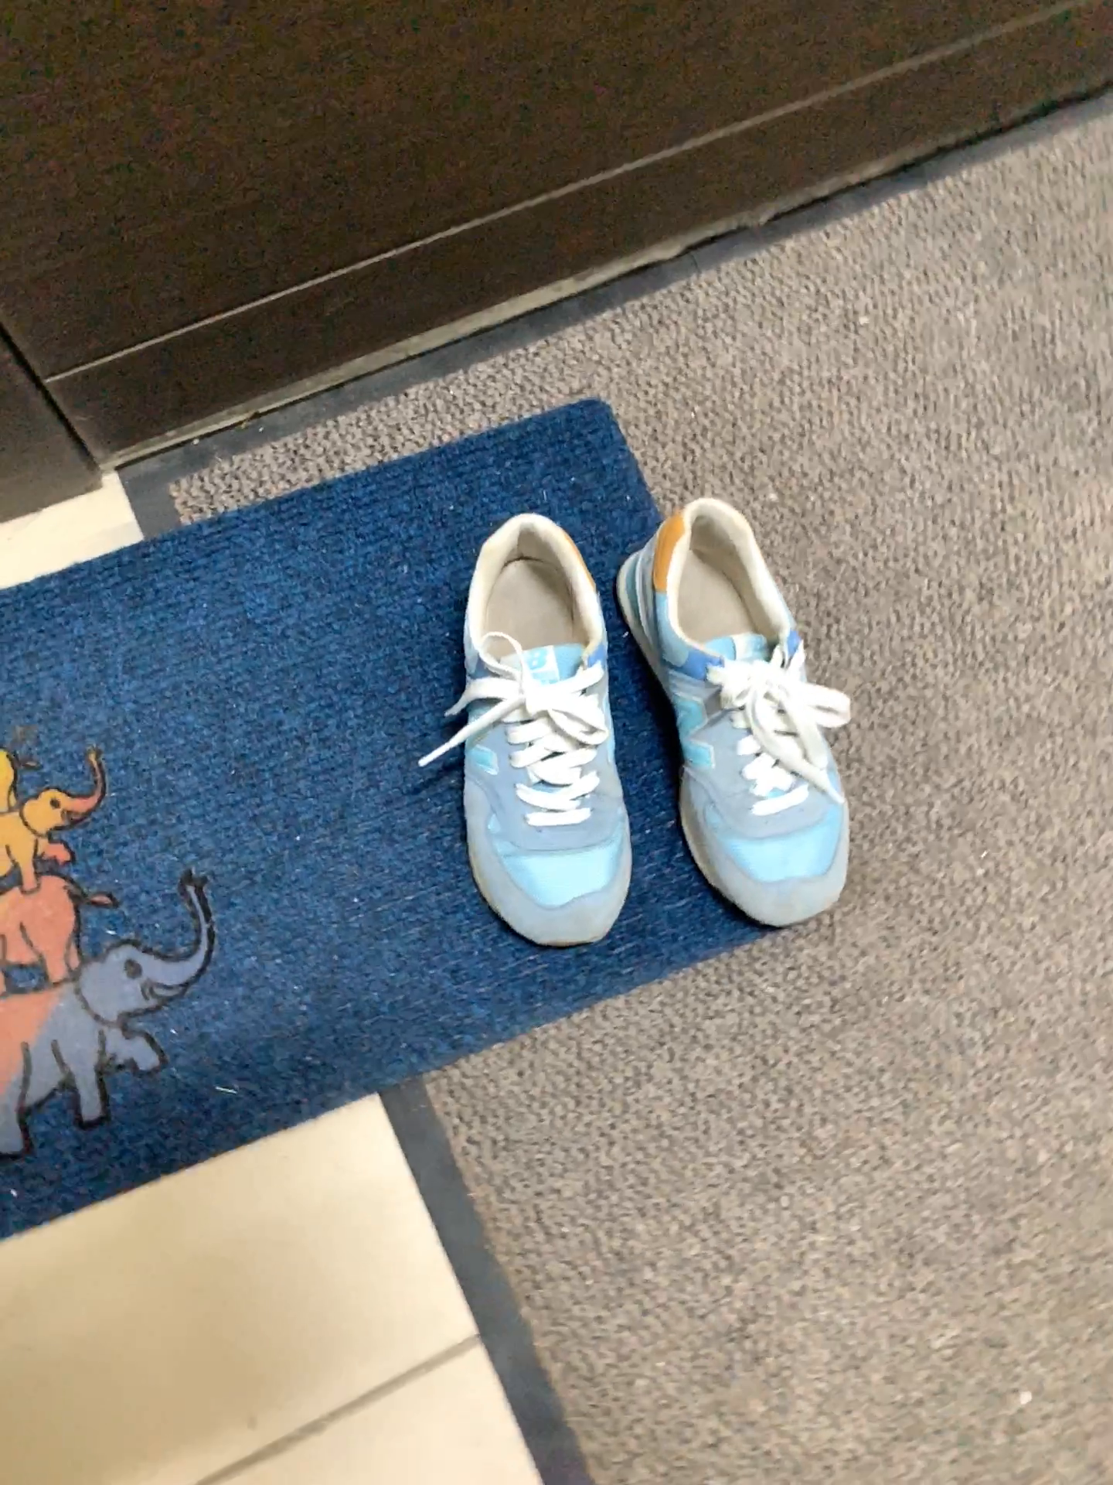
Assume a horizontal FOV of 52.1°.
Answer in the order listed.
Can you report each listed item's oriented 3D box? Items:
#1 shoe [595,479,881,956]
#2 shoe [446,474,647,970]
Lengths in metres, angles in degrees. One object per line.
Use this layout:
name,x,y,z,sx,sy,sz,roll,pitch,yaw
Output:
shoe,0.098,-0.011,0.688,0.090,0.120,0.250,-13,73,-3
shoe,-0.015,-0.008,0.680,0.080,0.140,0.260,-4,72,-8
